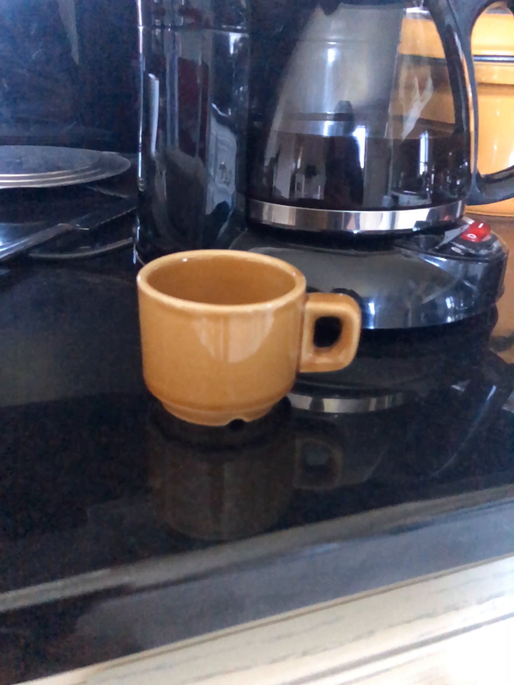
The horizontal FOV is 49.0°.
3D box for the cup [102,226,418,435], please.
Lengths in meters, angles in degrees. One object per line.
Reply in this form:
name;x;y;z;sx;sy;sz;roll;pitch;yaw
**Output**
cup;0.002;-0.009;0.221;0.100;0.050;0.070;4;28;2
